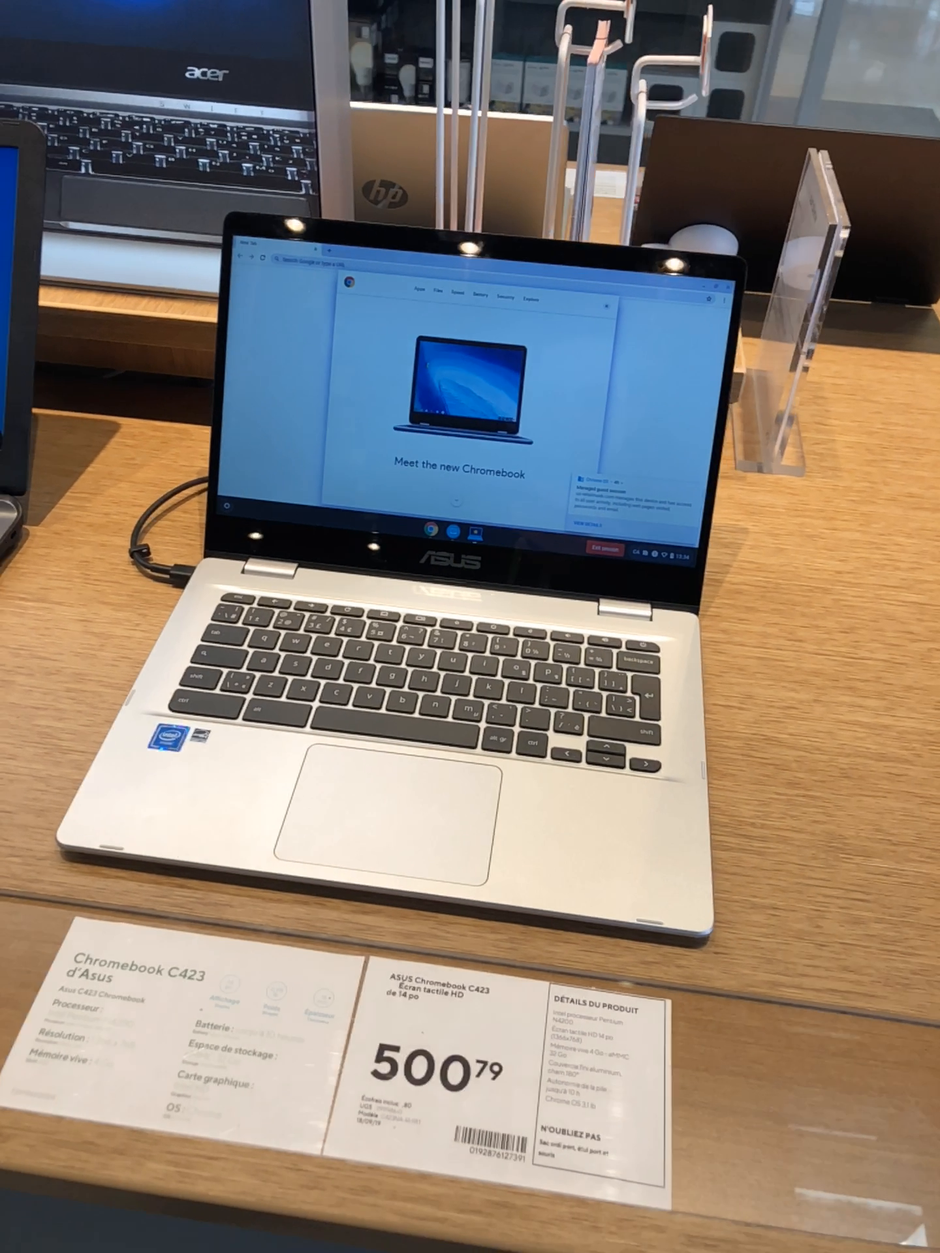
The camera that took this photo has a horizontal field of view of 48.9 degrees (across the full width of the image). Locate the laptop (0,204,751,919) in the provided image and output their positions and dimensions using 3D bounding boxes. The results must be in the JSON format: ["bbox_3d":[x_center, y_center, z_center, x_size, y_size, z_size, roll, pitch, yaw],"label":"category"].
[{"bbox_3d":[-0.035,-0.059,0.551,0.281,0.186,0.337,6,41,1],"label":"laptop"}]
